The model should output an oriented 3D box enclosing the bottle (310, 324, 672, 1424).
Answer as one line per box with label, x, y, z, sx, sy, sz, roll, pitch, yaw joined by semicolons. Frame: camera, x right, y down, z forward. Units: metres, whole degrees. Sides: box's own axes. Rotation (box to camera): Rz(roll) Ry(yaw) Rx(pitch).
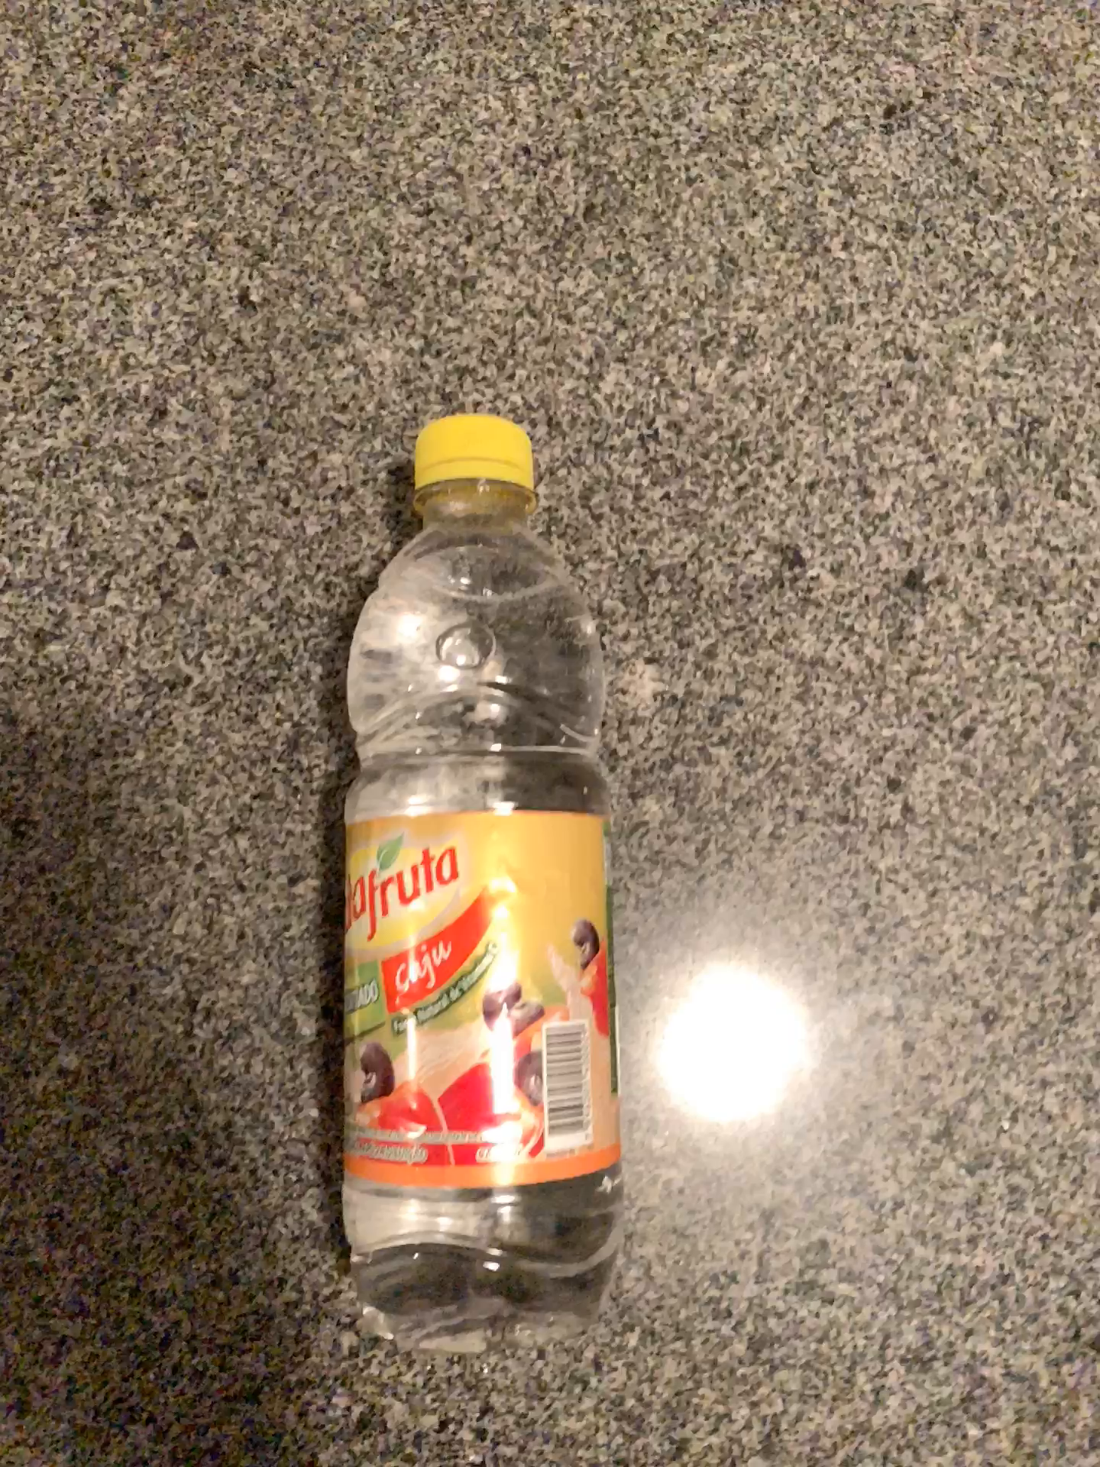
bottle;-0.018;0.024;0.272;0.070;0.060;0.230;-1;79;-5
